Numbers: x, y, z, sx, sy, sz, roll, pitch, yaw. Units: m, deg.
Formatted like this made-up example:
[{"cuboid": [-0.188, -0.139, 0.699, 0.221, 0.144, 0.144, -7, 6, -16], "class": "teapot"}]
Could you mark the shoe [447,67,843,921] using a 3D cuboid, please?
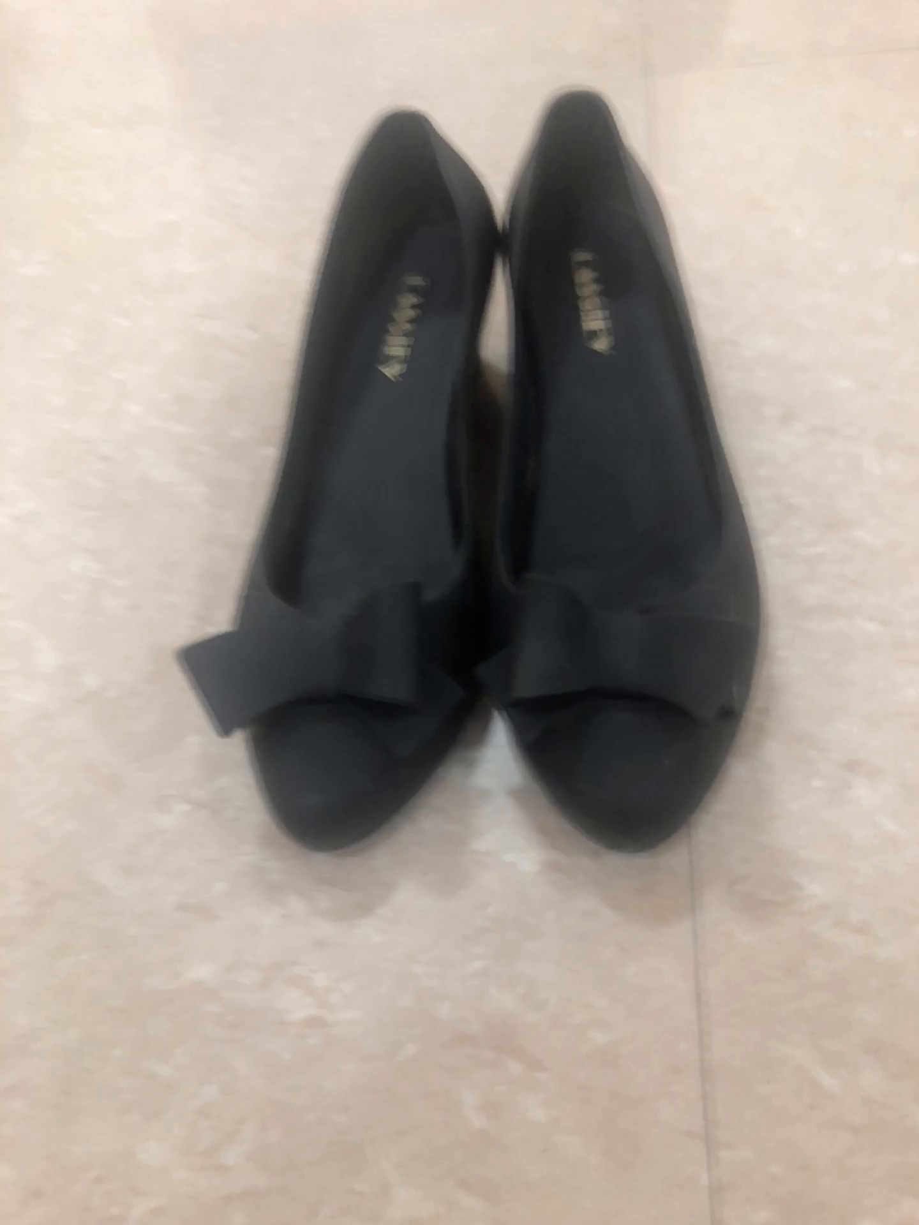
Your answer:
[{"cuboid": [0.057, -0.061, 0.360, 0.090, 0.090, 0.311, -2, 55, 9], "class": "shoe"}]

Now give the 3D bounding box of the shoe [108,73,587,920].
[{"cuboid": [-0.014, -0.062, 0.366, 0.090, 0.090, 0.311, 2, 56, 12], "class": "shoe"}]
